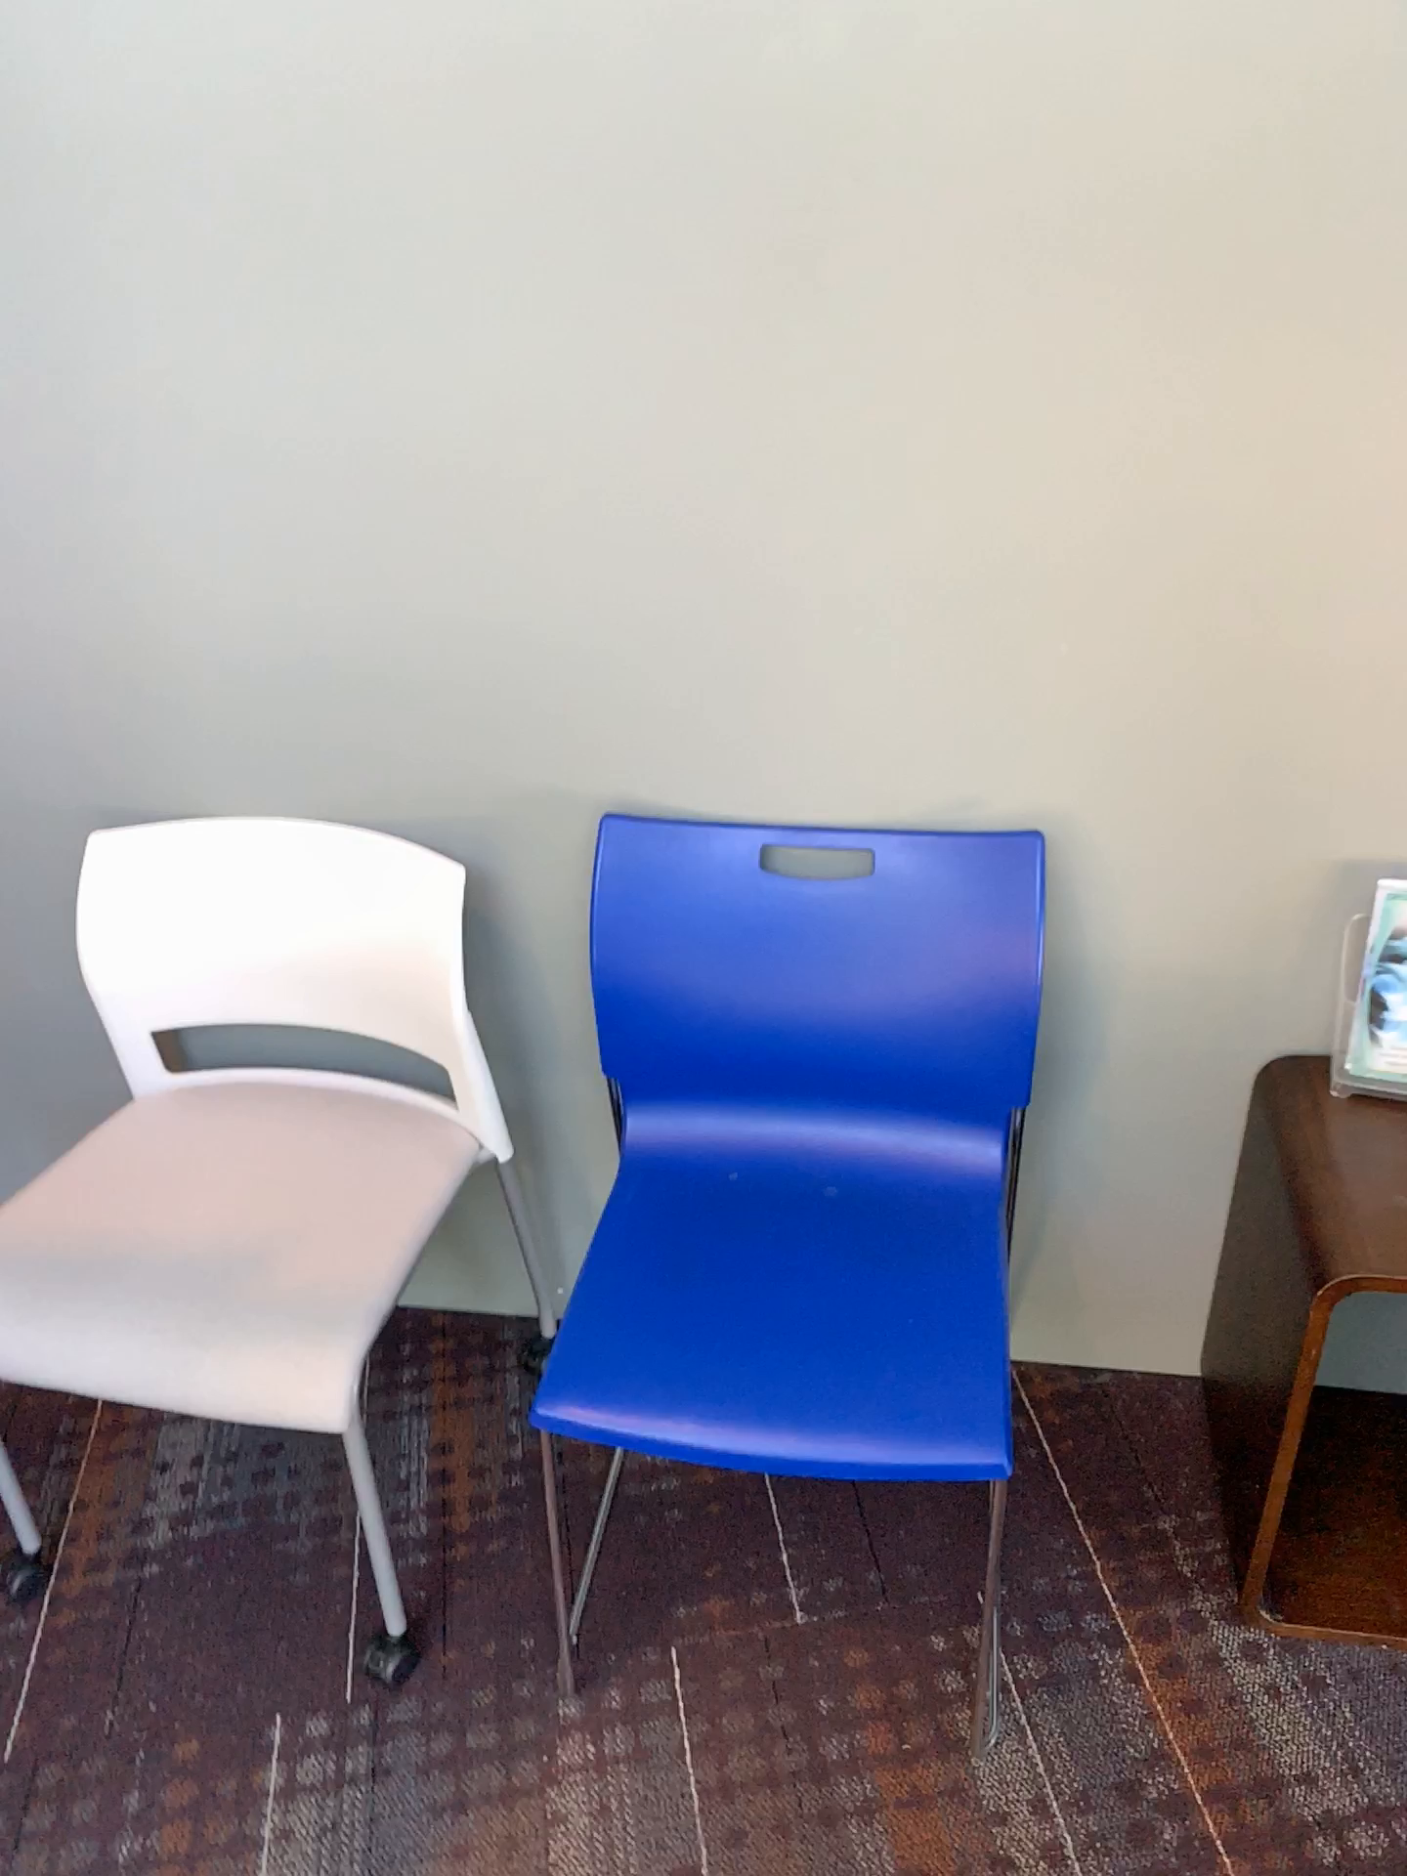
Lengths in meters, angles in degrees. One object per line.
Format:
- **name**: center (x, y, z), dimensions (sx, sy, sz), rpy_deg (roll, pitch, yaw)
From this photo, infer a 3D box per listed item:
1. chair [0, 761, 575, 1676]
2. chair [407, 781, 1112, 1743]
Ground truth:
- **chair**: center (-0.469, 0.299, 1.609), dimensions (0.590, 0.795, 0.563), rpy_deg (3, 29, -1)
- **chair**: center (0.098, 0.314, 1.635), dimensions (0.590, 0.796, 0.623), rpy_deg (3, 25, 10)
